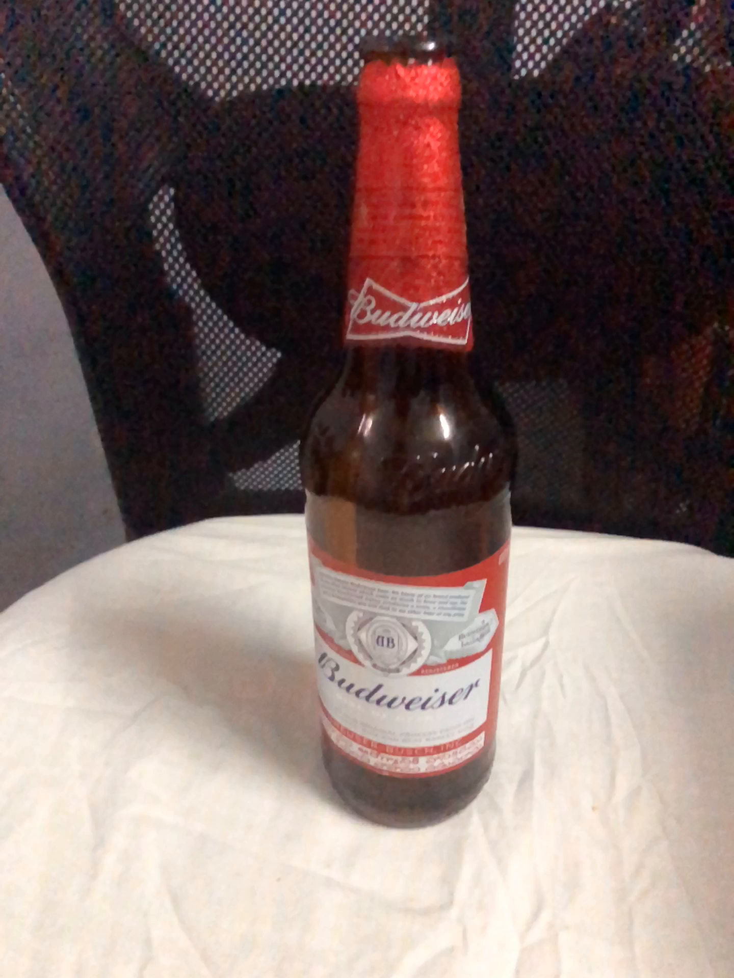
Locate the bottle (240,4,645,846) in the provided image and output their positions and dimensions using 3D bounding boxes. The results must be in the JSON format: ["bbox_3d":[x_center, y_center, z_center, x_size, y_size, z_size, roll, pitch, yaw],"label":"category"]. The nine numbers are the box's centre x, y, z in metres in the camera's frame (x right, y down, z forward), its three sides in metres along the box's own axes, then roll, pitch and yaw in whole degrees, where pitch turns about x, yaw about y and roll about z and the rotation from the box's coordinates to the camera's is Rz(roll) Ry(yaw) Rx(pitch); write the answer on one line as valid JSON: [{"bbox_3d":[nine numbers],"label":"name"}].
[{"bbox_3d":[0.017,0.001,0.265,0.080,0.269,0.070,4,34,5],"label":"bottle"}]
